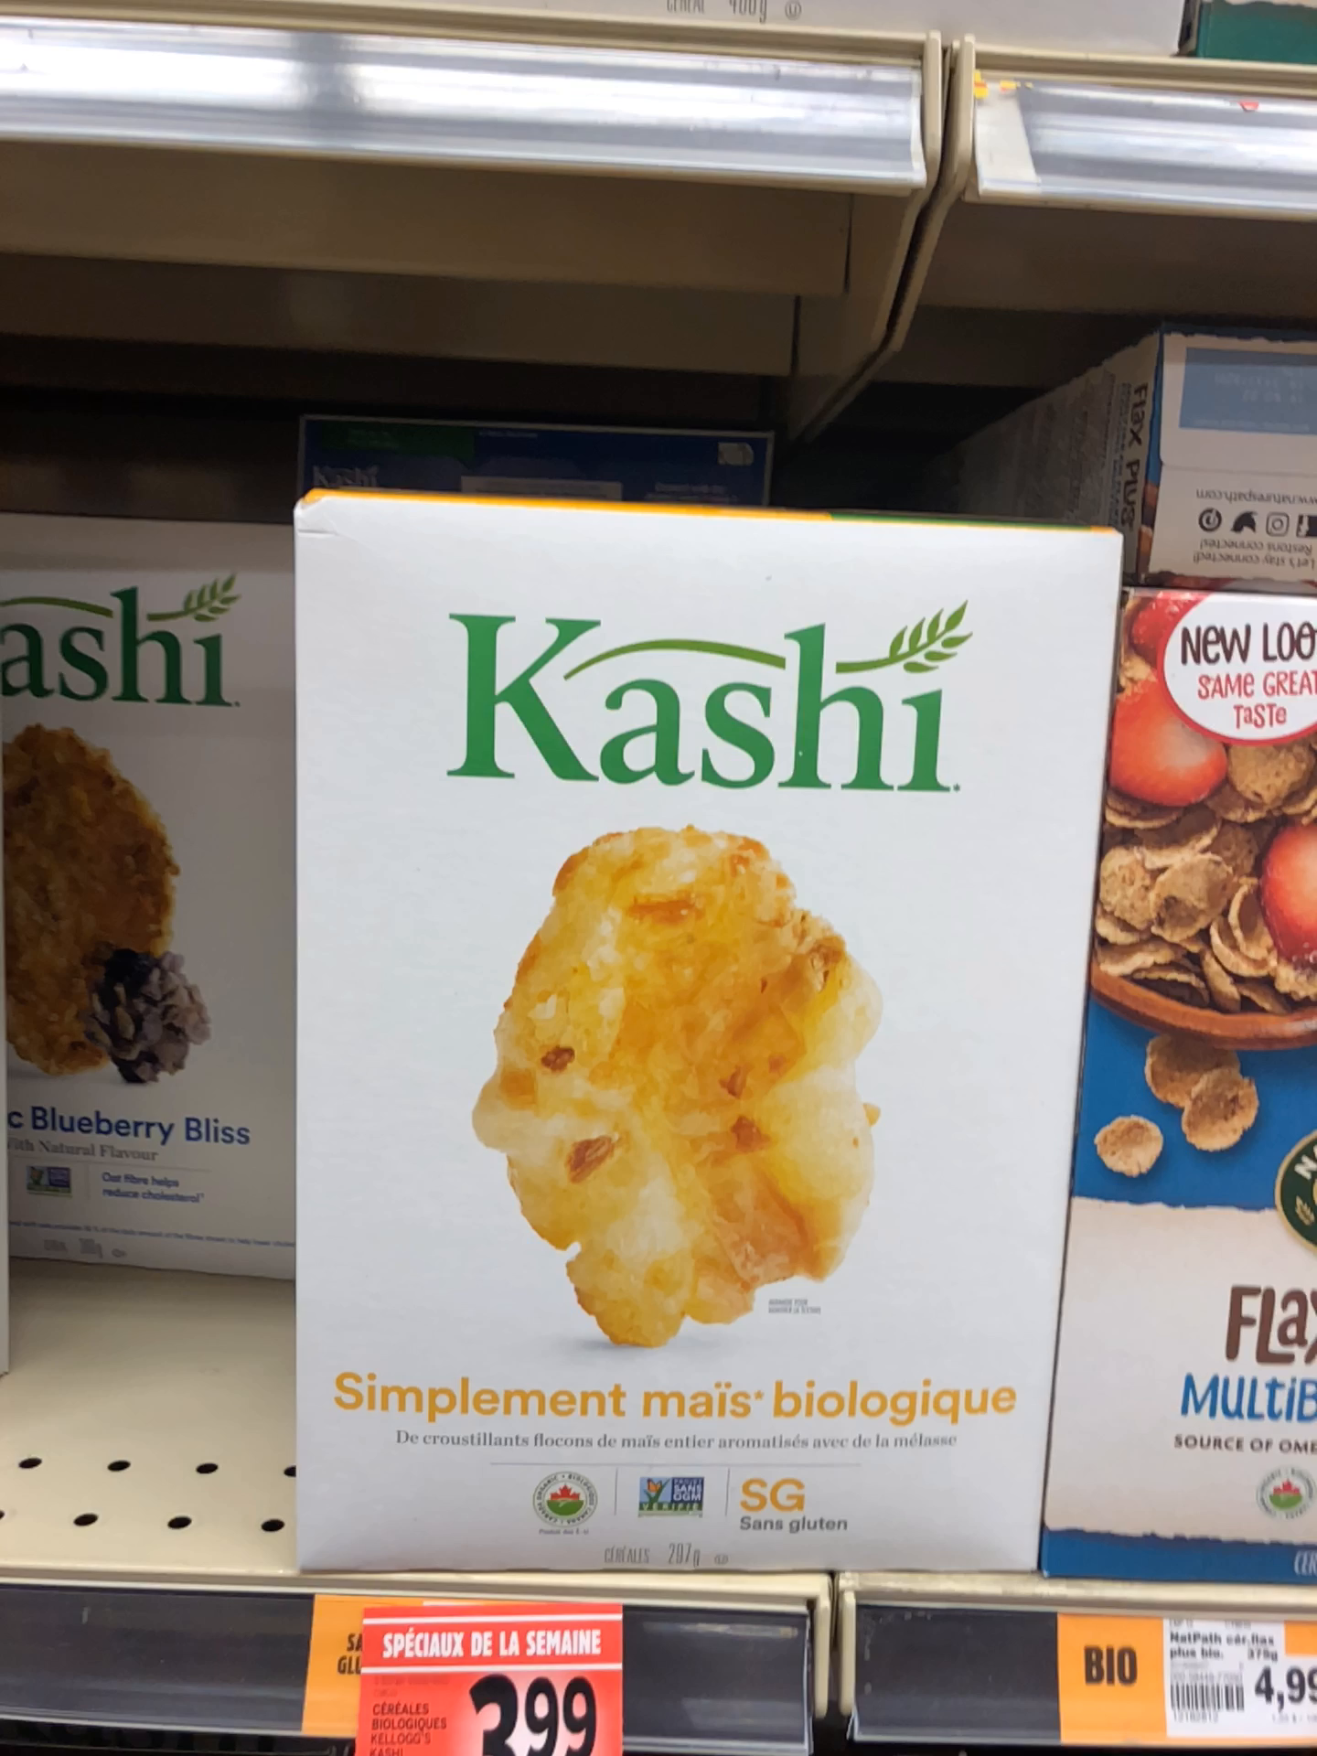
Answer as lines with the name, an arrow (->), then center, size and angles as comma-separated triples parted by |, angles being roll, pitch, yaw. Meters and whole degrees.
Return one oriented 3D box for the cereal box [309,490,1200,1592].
cereal box -> 0.016, 0.044, 0.379 | 0.200, 0.269, 0.060 | 2, 10, -3
